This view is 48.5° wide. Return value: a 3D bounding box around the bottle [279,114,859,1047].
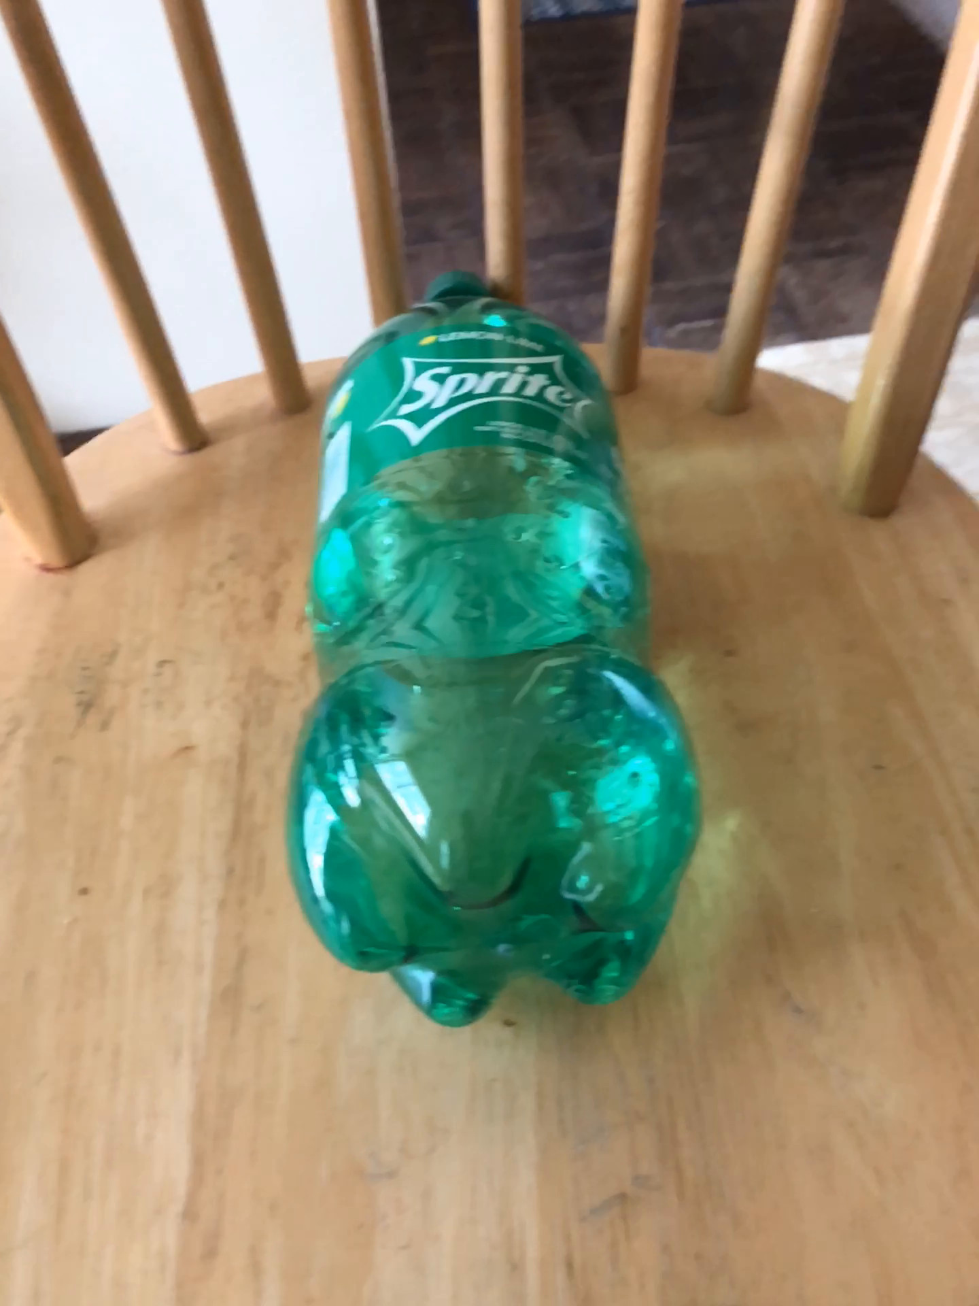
[{"bbox_3d":[-0.002,-0.047,0.342,0.110,0.110,0.300,2,47,-9],"label":"bottle"}]
